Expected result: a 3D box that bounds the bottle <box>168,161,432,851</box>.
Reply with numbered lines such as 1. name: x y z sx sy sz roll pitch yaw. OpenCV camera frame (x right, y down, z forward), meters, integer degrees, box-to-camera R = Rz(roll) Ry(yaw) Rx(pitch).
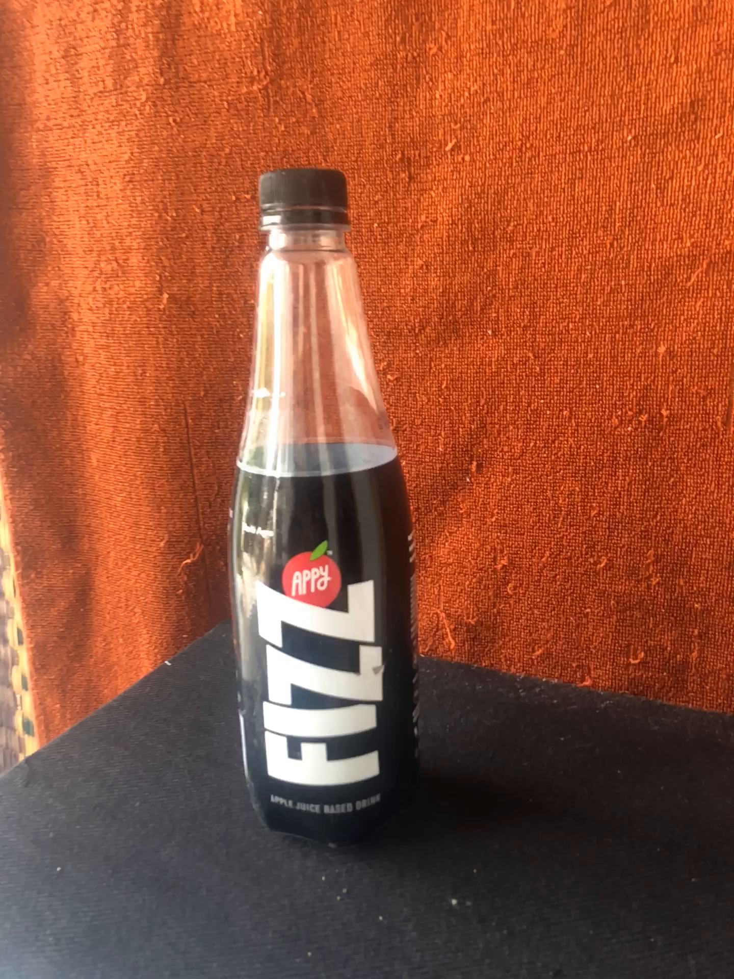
1. bottle: -0.015 0.010 0.275 0.070 0.219 0.060 0 17 2
